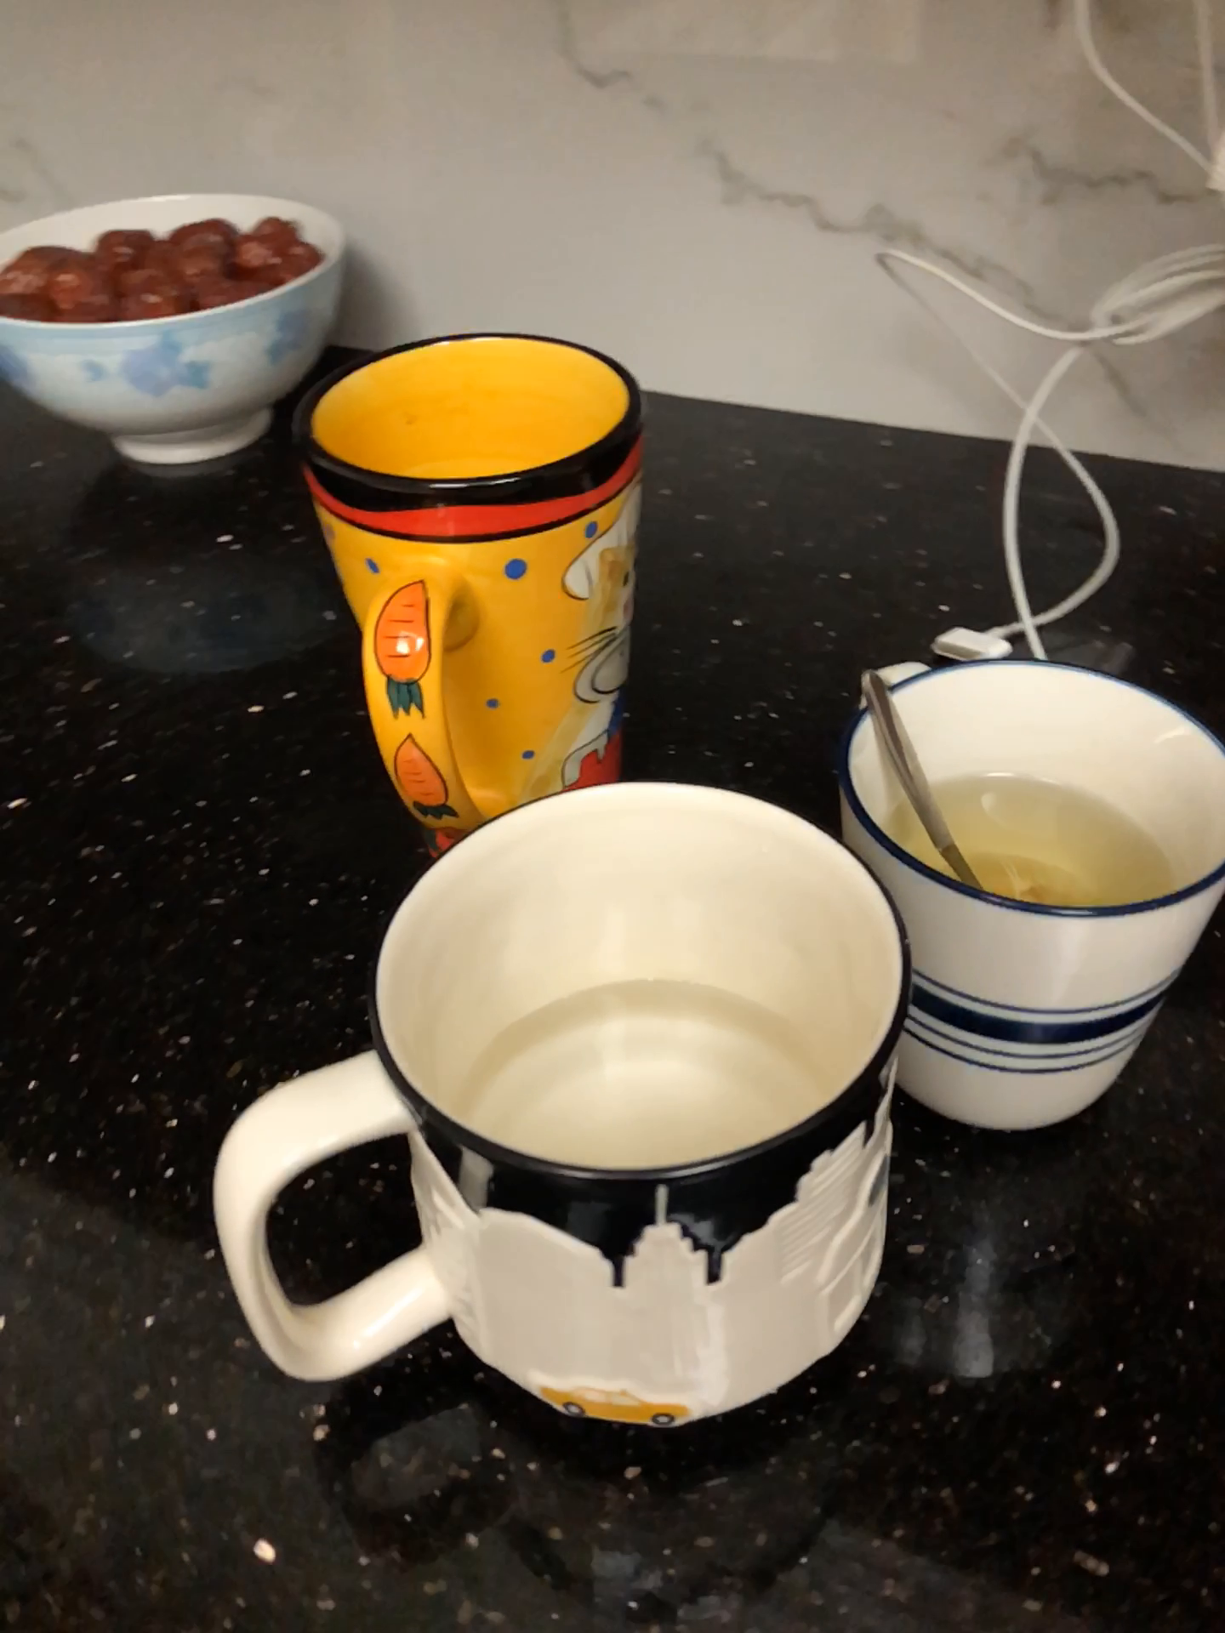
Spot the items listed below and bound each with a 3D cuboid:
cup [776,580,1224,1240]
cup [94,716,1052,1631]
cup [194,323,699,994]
[{"bbox_3d":[0.092,0.018,0.321,0.080,0.090,0.121,-6,41,-3],"label":"cup"},{"bbox_3d":[-0.012,0.065,0.283,0.150,0.090,0.111,-17,43,-15],"label":"cup"},{"bbox_3d":[-0.031,-0.046,0.370,0.090,0.129,0.121,7,42,11],"label":"cup"}]
